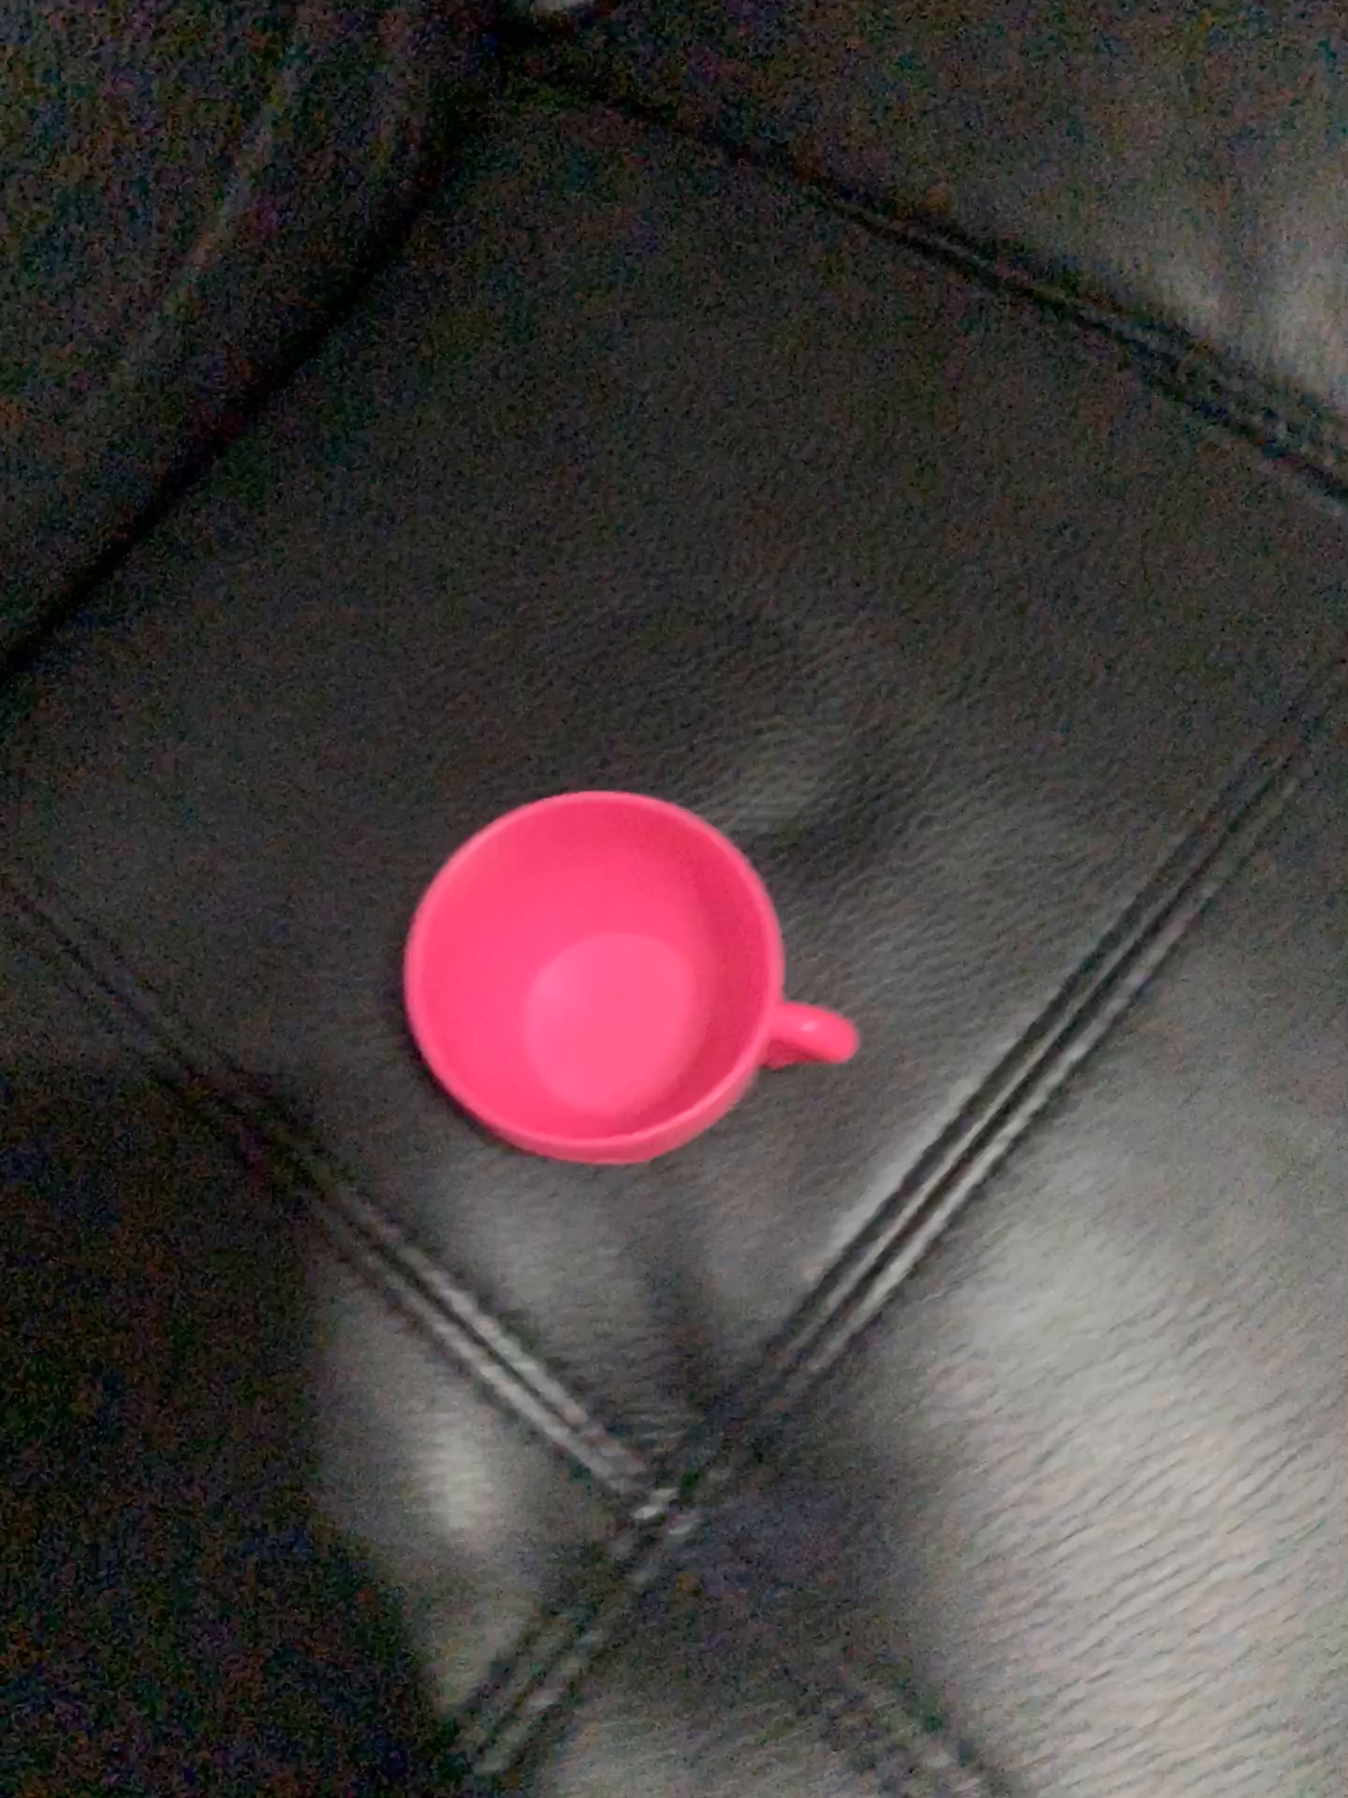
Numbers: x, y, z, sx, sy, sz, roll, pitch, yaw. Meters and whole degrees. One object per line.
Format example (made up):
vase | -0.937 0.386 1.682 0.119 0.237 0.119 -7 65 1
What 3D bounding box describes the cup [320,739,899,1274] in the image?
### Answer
cup | -0.007 0.019 0.238 0.073 0.047 0.061 15 71 10
